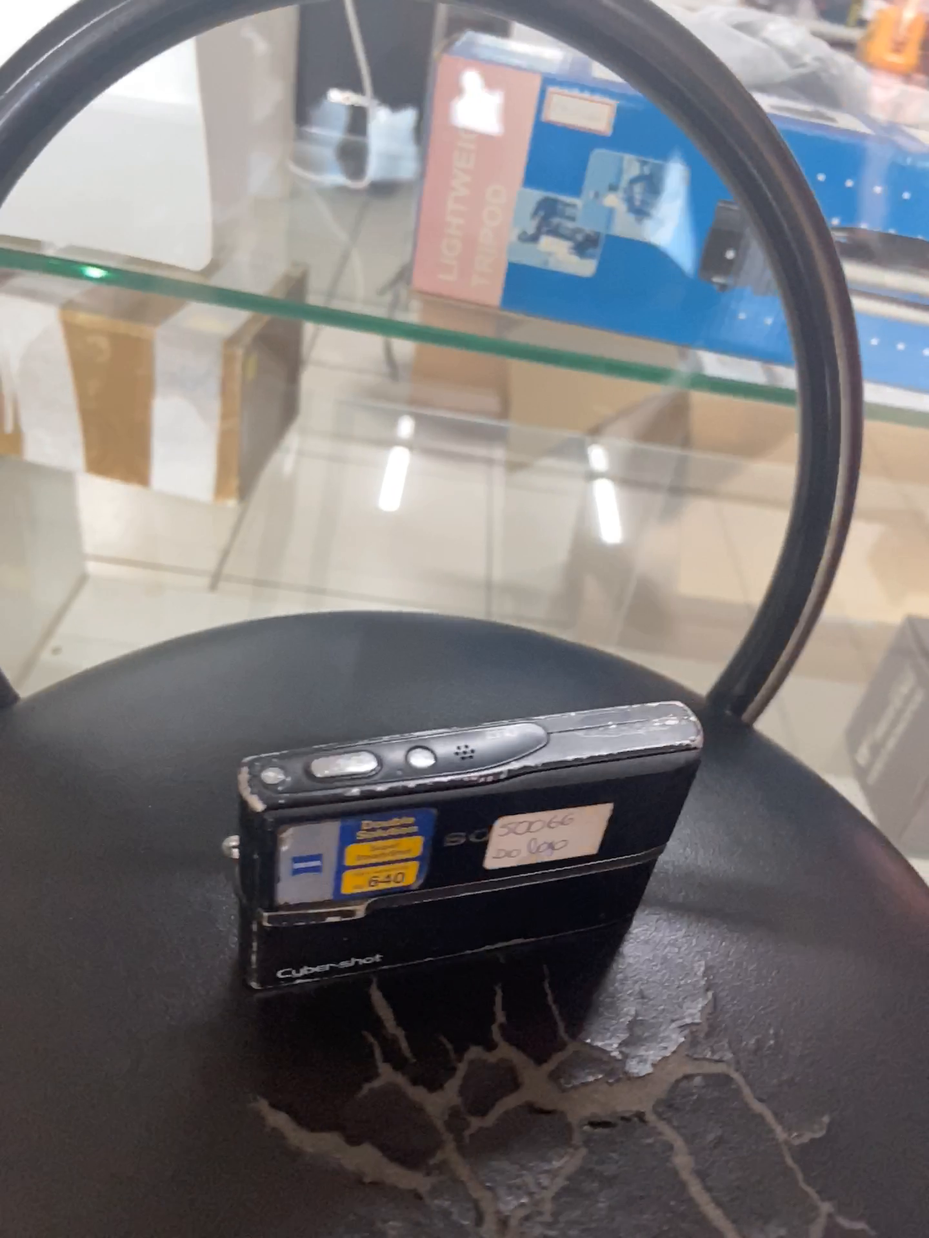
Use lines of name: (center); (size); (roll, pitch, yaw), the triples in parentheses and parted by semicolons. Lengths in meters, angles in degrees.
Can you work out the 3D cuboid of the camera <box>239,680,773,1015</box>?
camera: (0.006, 0.046, 0.200); (0.100, 0.060, 0.020); (-4, 38, -19)
